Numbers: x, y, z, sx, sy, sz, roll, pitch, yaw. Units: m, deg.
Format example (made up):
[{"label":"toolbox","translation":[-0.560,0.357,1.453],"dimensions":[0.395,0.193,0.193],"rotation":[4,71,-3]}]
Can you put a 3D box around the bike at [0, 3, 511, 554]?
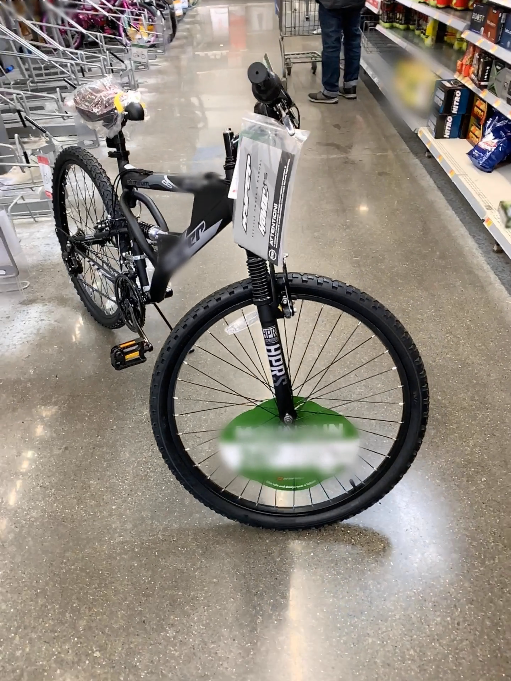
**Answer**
[{"label":"bike","translation":[-0.154,-0.356,1.720],"dimensions":[1.682,1.089,0.693],"rotation":[30,48,32]}]
